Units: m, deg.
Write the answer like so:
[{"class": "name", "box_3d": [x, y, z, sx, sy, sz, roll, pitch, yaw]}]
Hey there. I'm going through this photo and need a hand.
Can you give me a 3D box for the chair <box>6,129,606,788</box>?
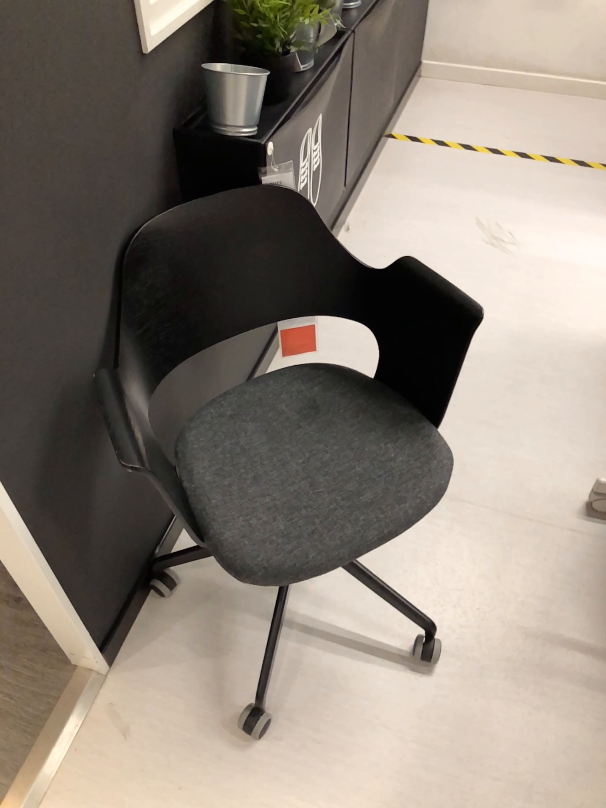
[{"class": "chair", "box_3d": [0.018, 0.100, 1.098, 0.661, 0.755, 0.563, -19, 51, -16]}]
